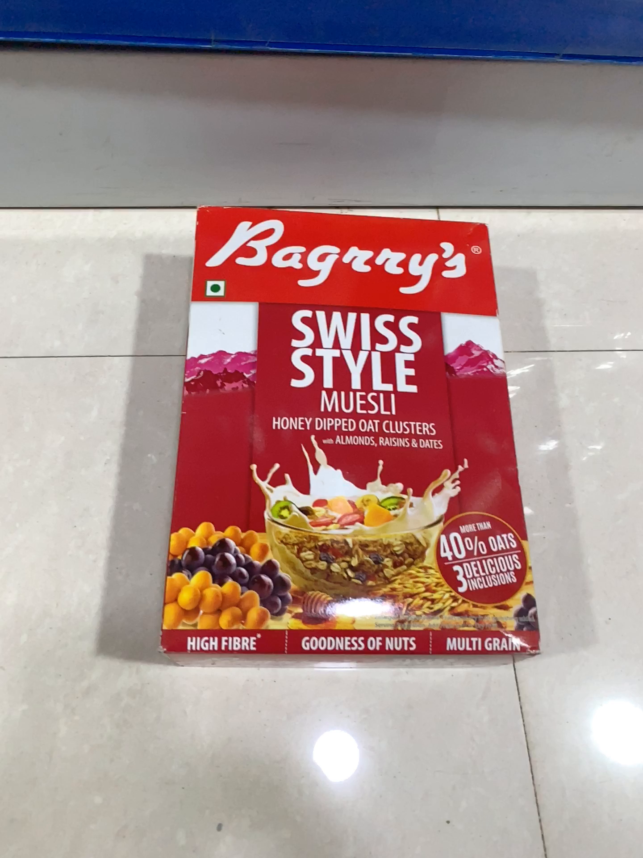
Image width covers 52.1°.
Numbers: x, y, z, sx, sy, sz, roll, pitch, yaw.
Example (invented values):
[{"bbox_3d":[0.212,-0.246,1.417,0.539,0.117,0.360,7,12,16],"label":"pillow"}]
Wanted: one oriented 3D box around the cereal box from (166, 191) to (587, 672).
[{"bbox_3d":[0.024,0.000,0.380,0.190,0.080,0.260,2,68,-5],"label":"cereal box"}]
